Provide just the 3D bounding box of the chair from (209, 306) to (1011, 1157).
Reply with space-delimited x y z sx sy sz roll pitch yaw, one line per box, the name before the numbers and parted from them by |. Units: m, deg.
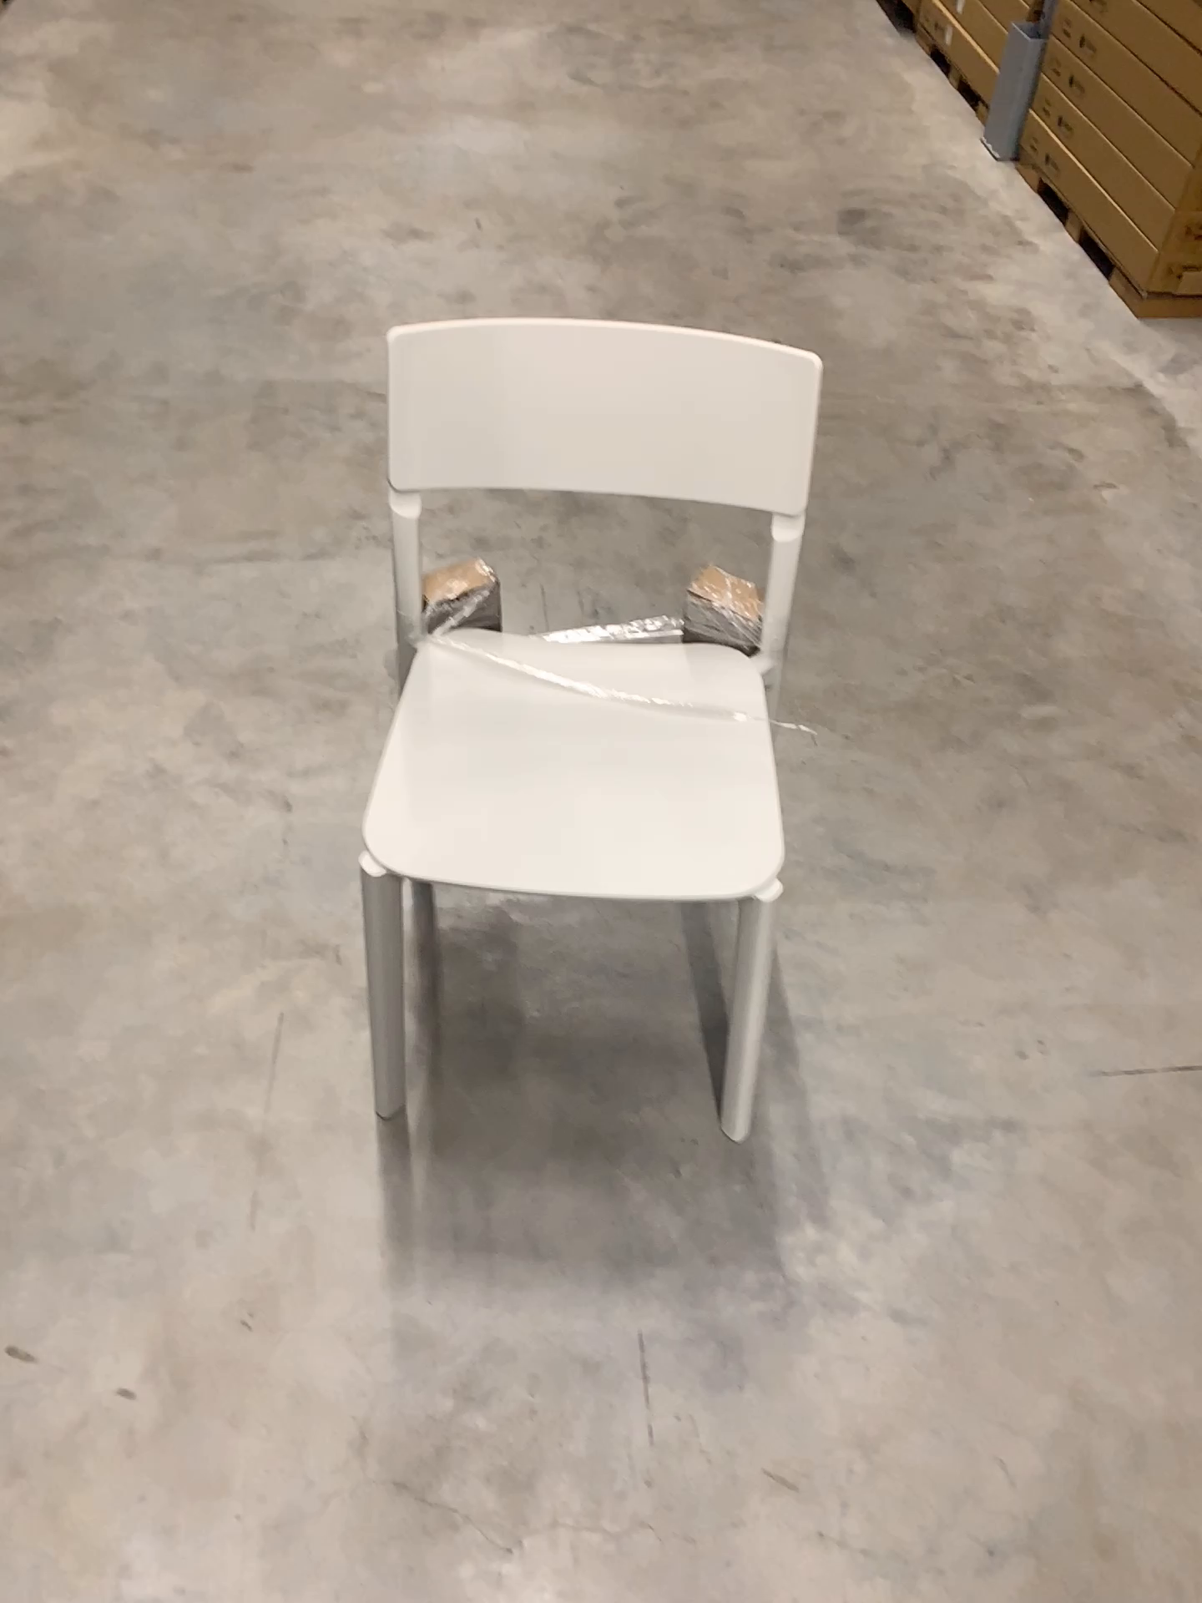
chair | 0.000 -0.051 1.198 0.520 0.618 0.532 2 47 -1
